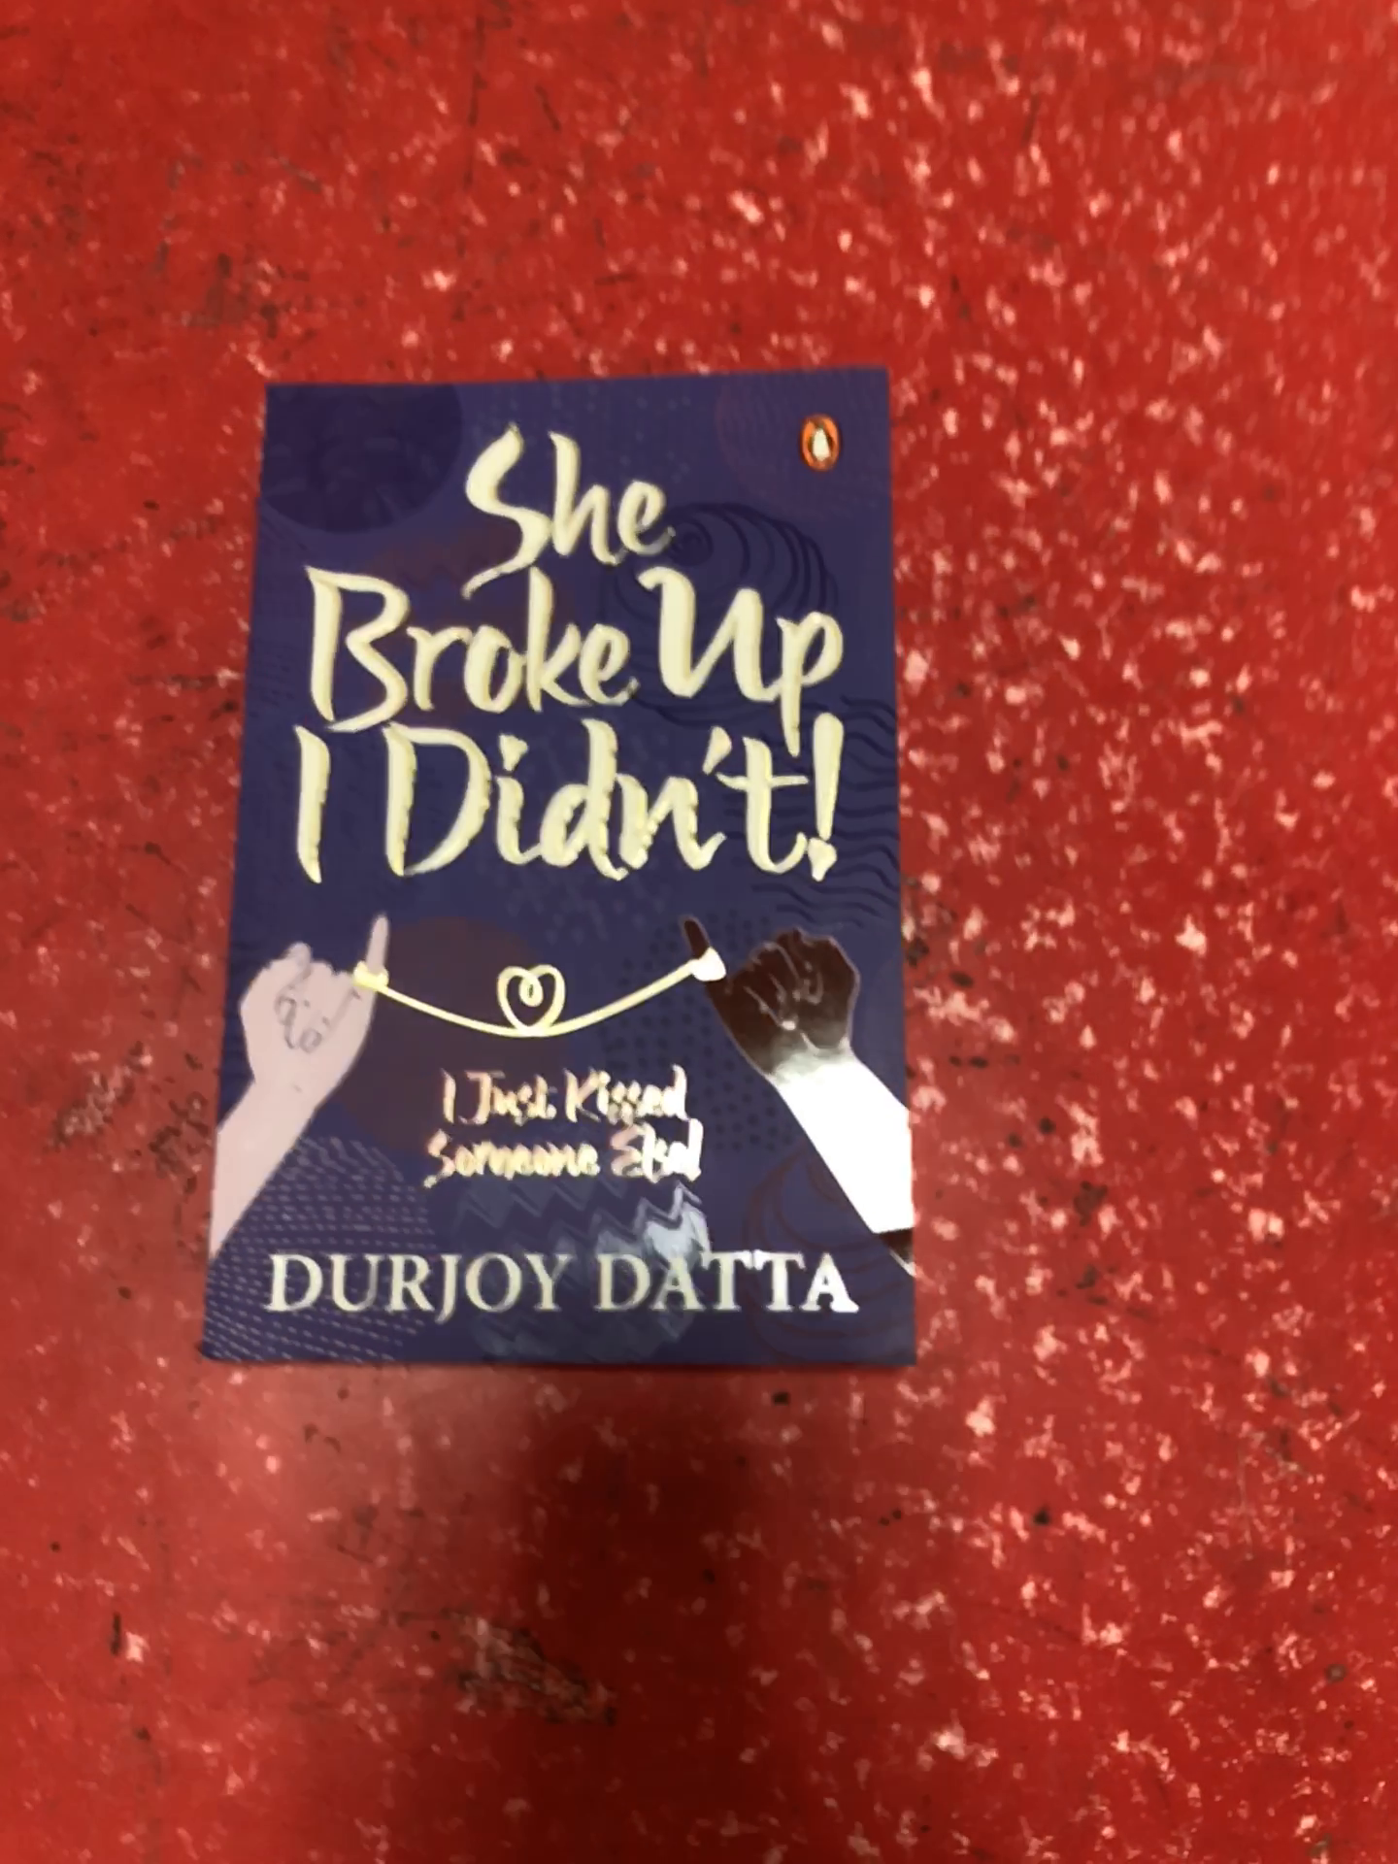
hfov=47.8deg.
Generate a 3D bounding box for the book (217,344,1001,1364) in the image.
[{"bbox_3d":[-0.015,-0.016,0.303,0.130,0.040,0.190,0,77,-1],"label":"book"}]
